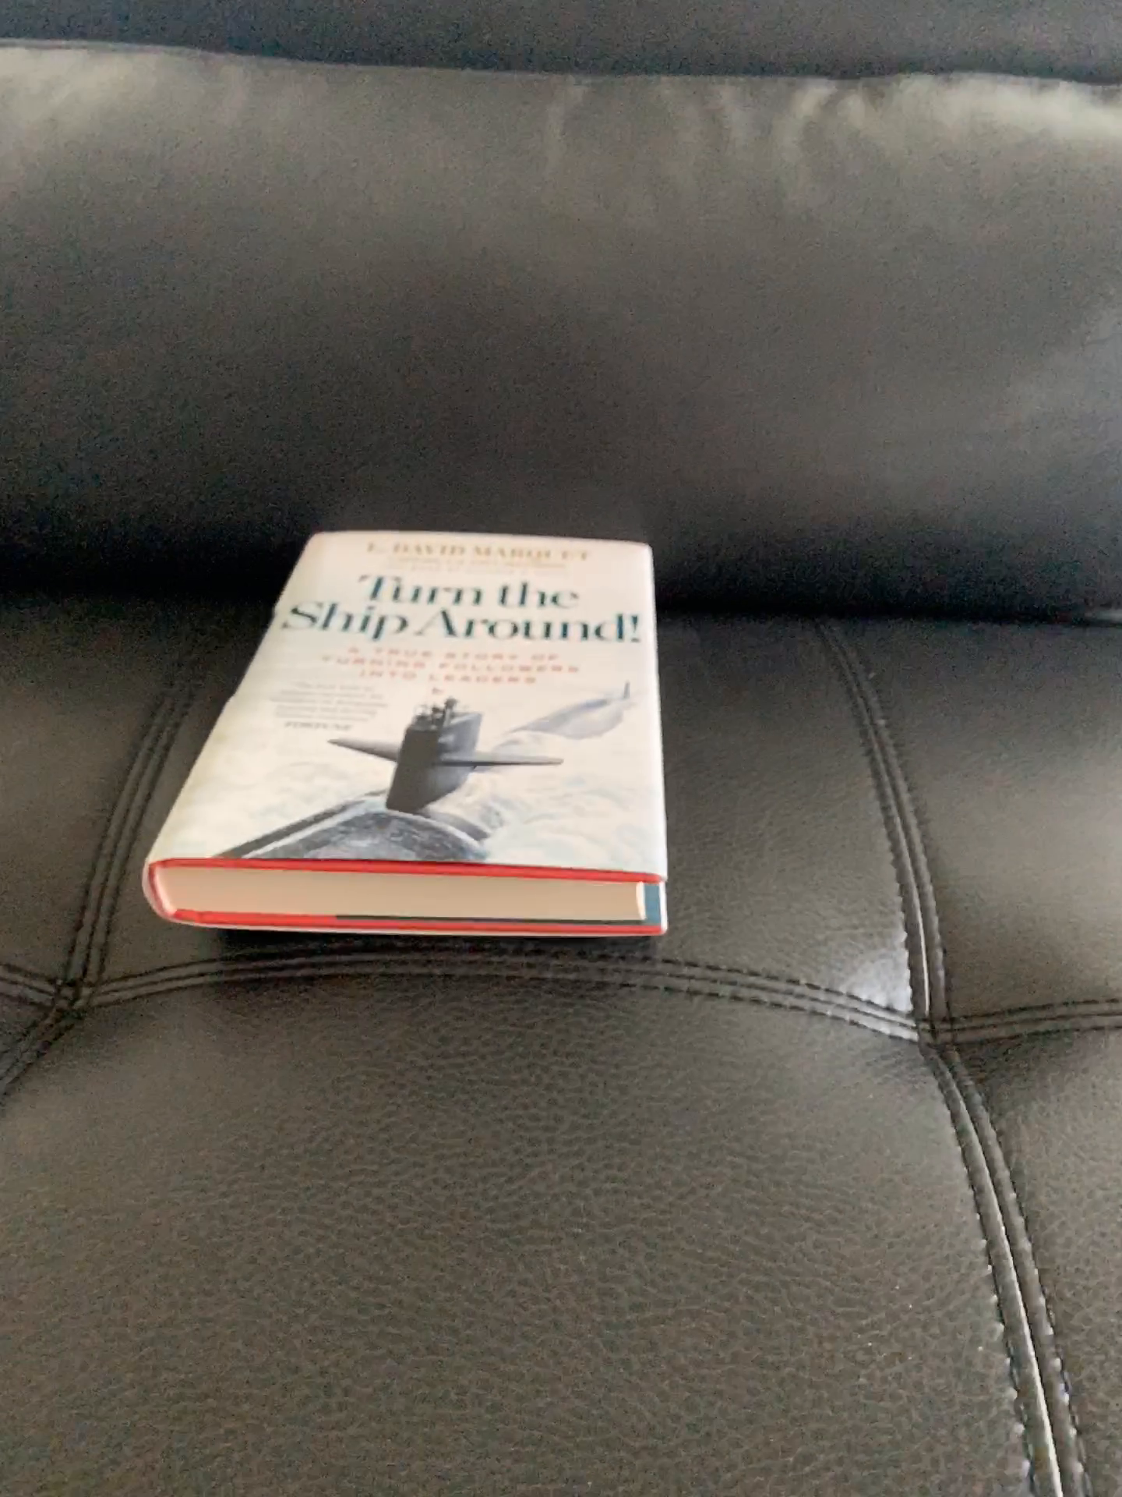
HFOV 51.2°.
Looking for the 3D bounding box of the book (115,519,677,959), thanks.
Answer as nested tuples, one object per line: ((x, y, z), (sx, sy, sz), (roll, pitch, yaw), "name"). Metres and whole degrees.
((-0.041, -0.020, 0.417), (0.152, 0.029, 0.228), (2, 34, 1), "book")
